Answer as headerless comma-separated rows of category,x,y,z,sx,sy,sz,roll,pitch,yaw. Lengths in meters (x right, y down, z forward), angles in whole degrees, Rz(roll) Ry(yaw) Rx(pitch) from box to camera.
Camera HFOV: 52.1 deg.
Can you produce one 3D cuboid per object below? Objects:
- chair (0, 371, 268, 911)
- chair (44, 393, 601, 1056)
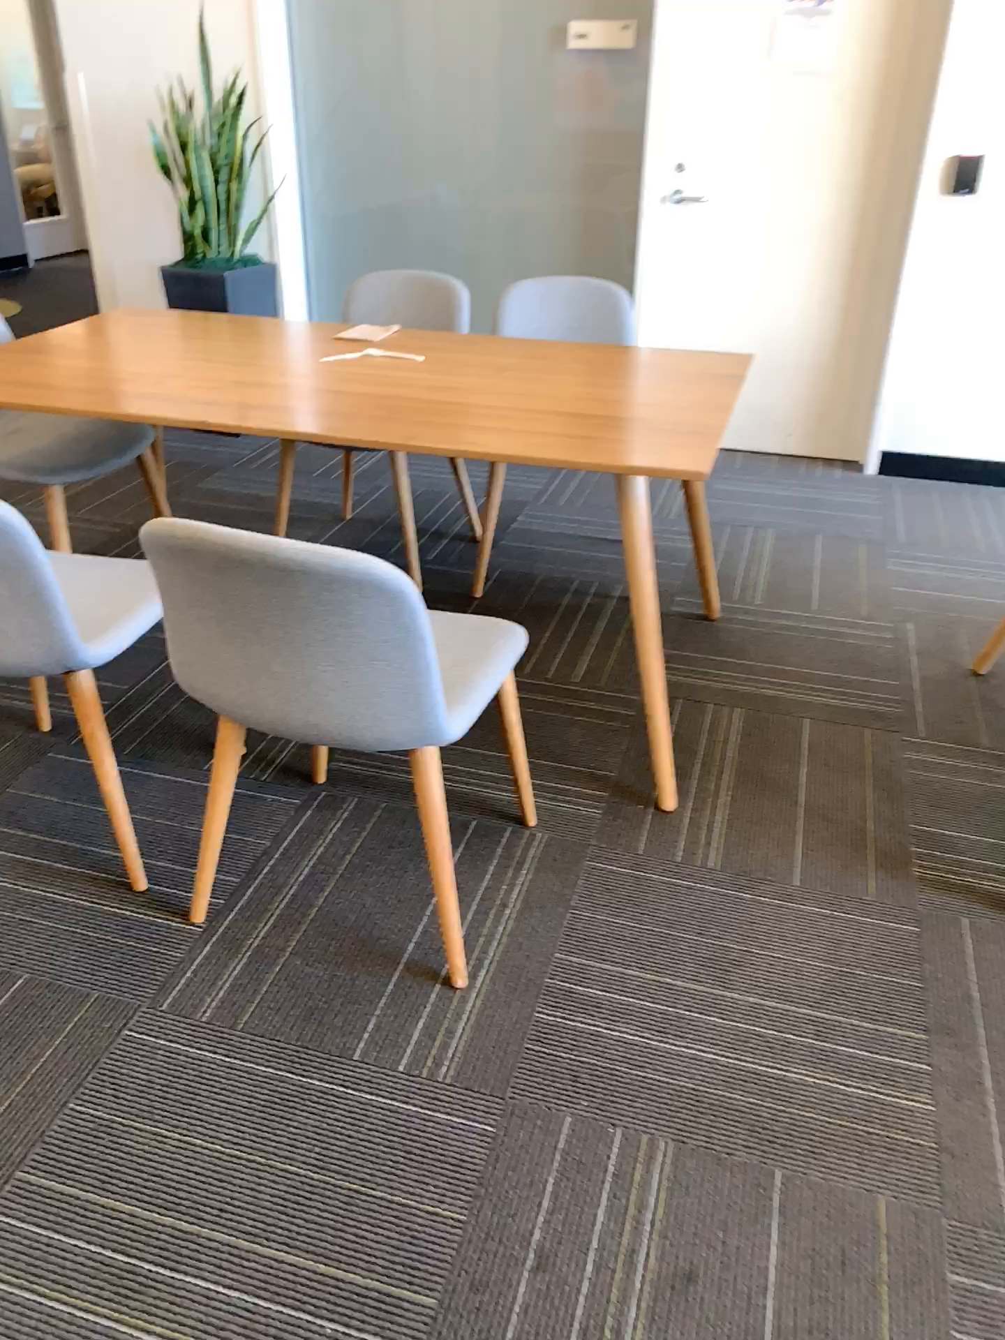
chair,-0.854,-0.080,1.917,0.570,0.776,0.533,9,30,13
chair,-0.224,0.048,1.670,0.591,0.795,0.573,11,31,16
